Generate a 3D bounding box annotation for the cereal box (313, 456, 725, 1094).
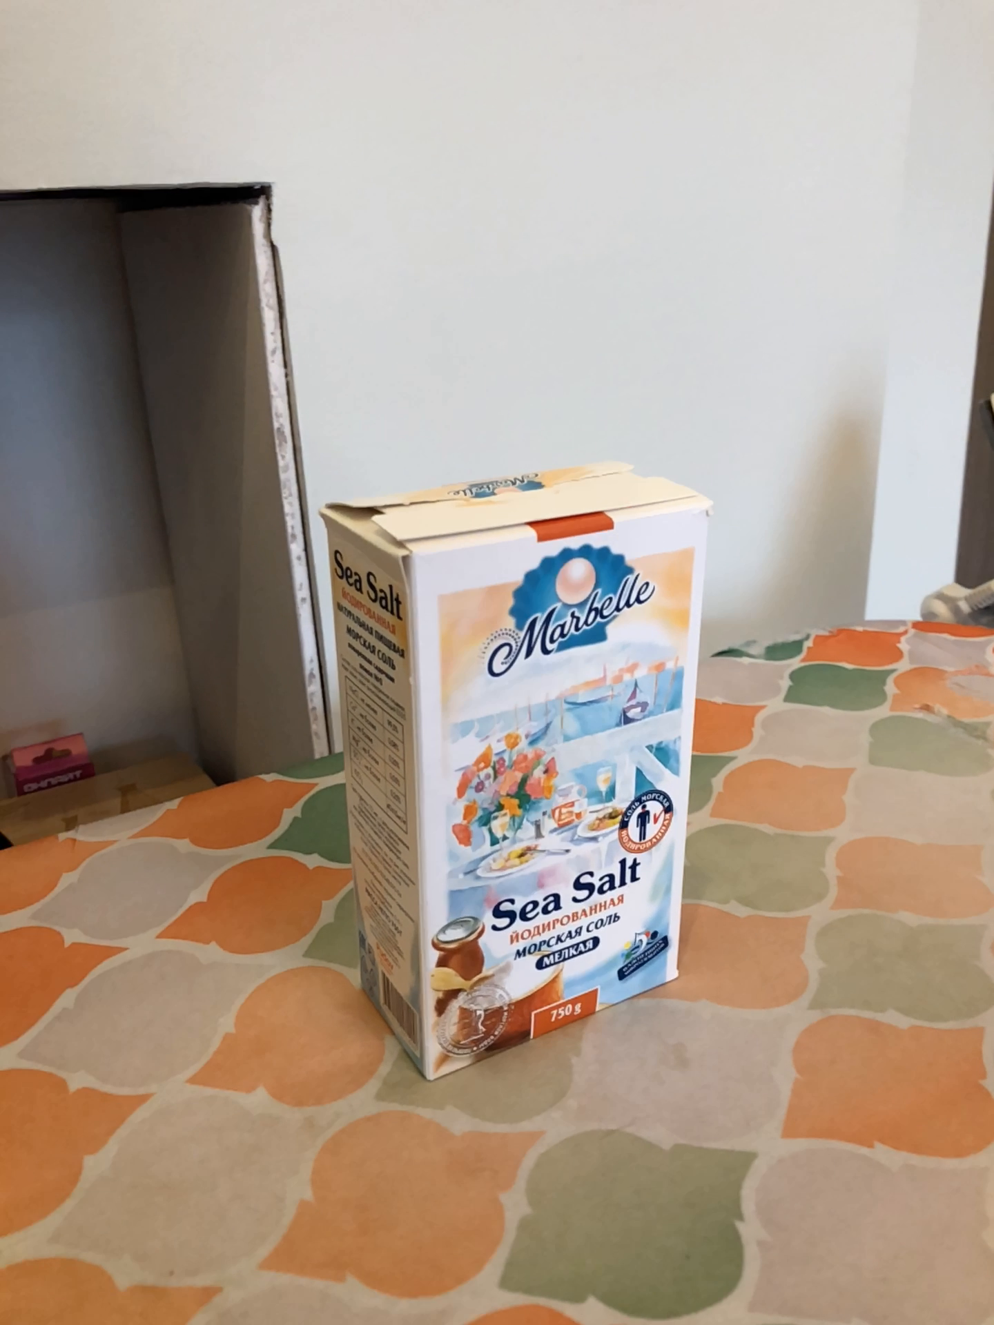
[{"bbox_3d":[0.006,0.031,0.341,0.100,0.169,0.060,-12,25,-27],"label":"cereal box"}]
